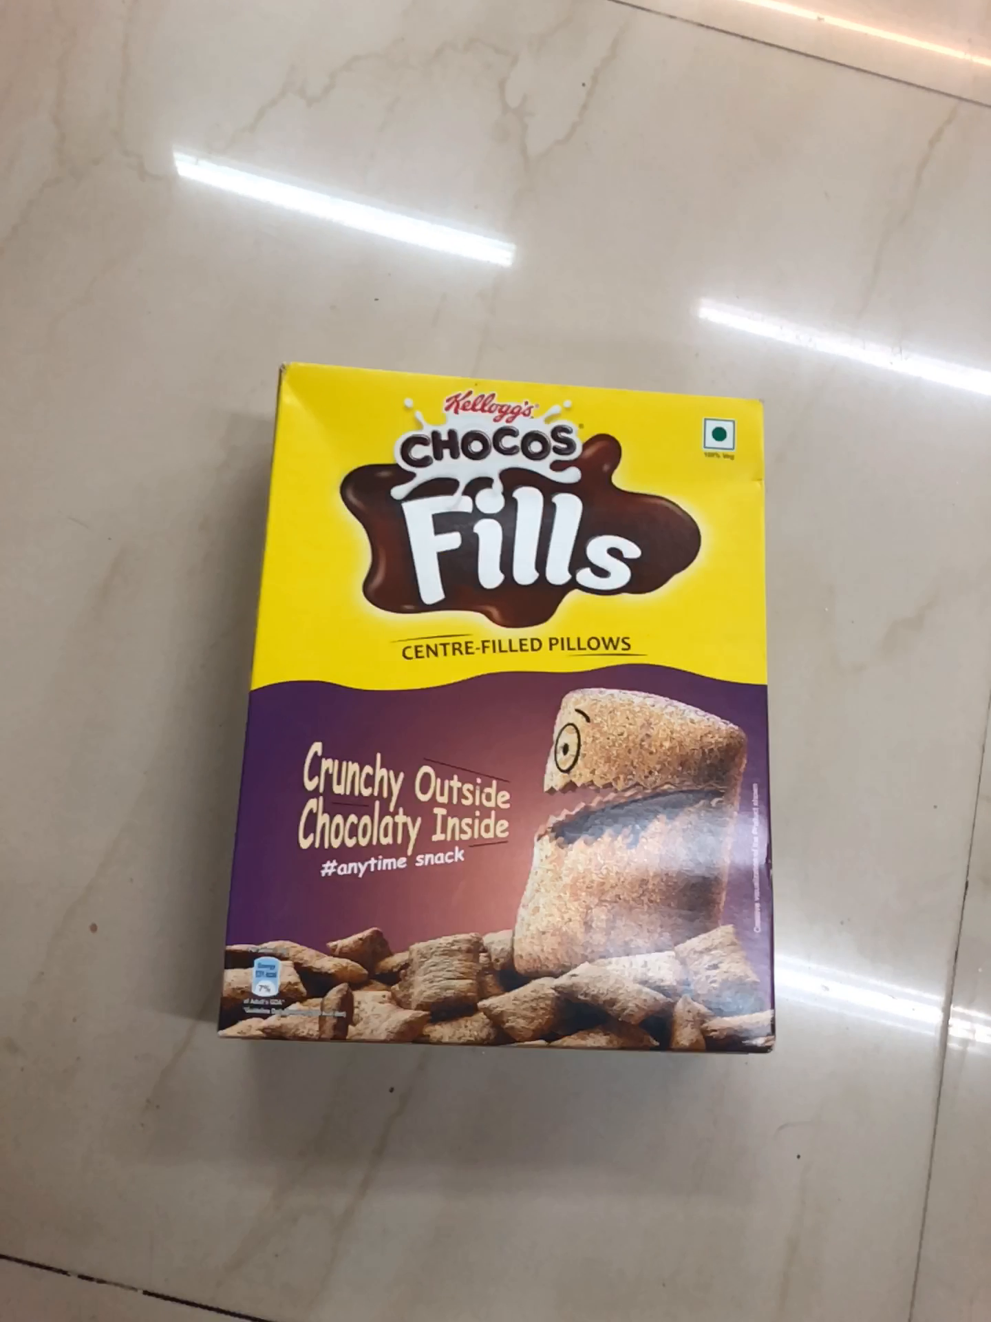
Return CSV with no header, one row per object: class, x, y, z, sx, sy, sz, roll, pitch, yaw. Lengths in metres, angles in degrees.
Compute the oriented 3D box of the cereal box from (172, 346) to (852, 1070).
cereal box,0.007,0.017,0.386,0.200,0.070,0.230,3,74,-5
